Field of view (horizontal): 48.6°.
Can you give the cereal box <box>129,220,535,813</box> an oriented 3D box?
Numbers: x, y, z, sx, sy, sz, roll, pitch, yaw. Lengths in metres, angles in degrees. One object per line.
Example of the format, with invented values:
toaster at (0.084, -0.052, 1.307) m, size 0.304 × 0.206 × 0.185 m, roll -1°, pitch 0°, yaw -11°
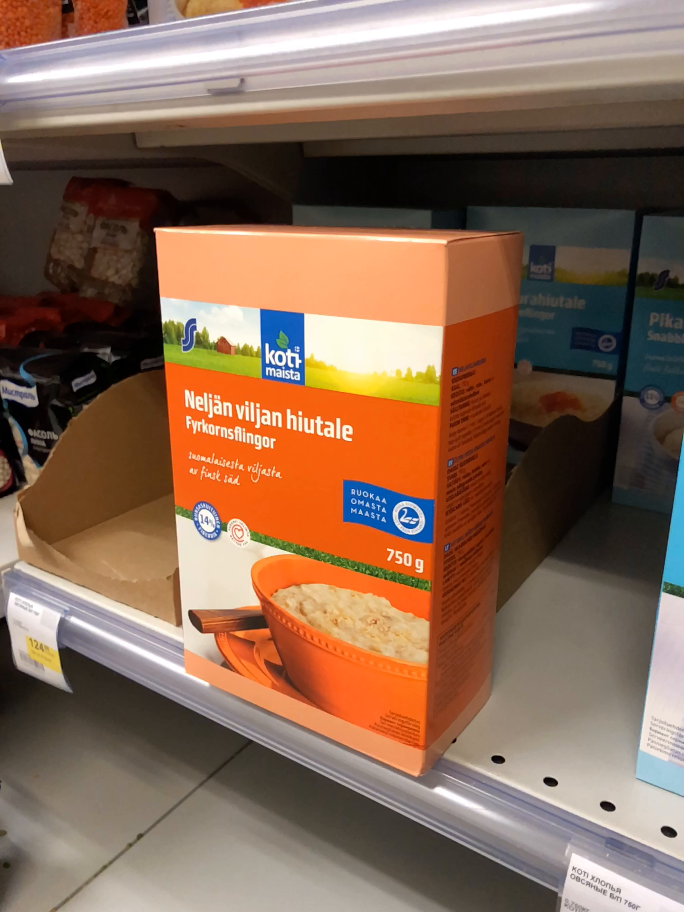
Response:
cereal box at (-0.008, 0.012, 0.347) m, size 0.150 × 0.229 × 0.080 m, roll 12°, pitch 20°, yaw 33°
